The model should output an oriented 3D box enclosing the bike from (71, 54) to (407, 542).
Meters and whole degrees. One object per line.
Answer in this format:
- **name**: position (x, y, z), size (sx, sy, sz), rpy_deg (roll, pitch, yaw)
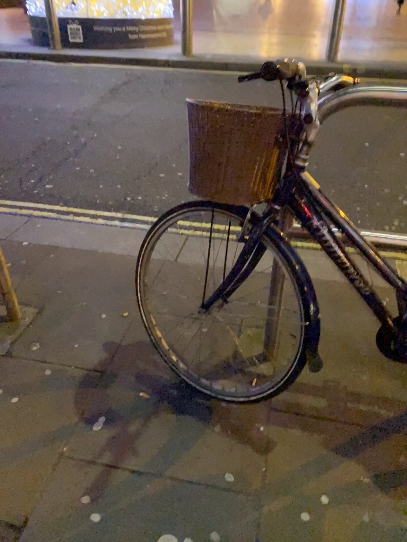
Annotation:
- **bike**: position (0.610, 0.006, 1.226), size (1.710, 1.063, 0.663), rpy_deg (10, 36, 16)
